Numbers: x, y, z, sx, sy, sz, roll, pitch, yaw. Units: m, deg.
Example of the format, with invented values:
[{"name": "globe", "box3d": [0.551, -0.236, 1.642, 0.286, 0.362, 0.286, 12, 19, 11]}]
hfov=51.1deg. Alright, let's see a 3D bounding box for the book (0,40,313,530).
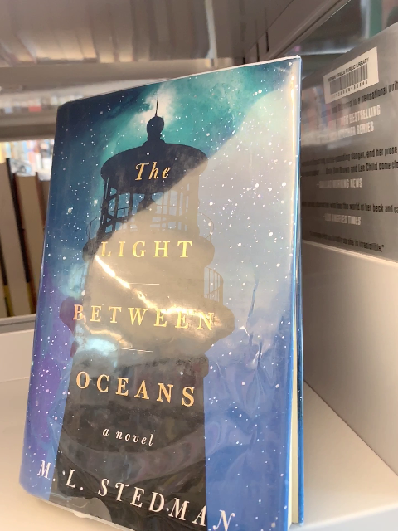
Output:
[{"name": "book", "box3d": [-0.024, 0.013, 0.224, 0.156, 0.225, 0.042, -1, -9, 26]}]
